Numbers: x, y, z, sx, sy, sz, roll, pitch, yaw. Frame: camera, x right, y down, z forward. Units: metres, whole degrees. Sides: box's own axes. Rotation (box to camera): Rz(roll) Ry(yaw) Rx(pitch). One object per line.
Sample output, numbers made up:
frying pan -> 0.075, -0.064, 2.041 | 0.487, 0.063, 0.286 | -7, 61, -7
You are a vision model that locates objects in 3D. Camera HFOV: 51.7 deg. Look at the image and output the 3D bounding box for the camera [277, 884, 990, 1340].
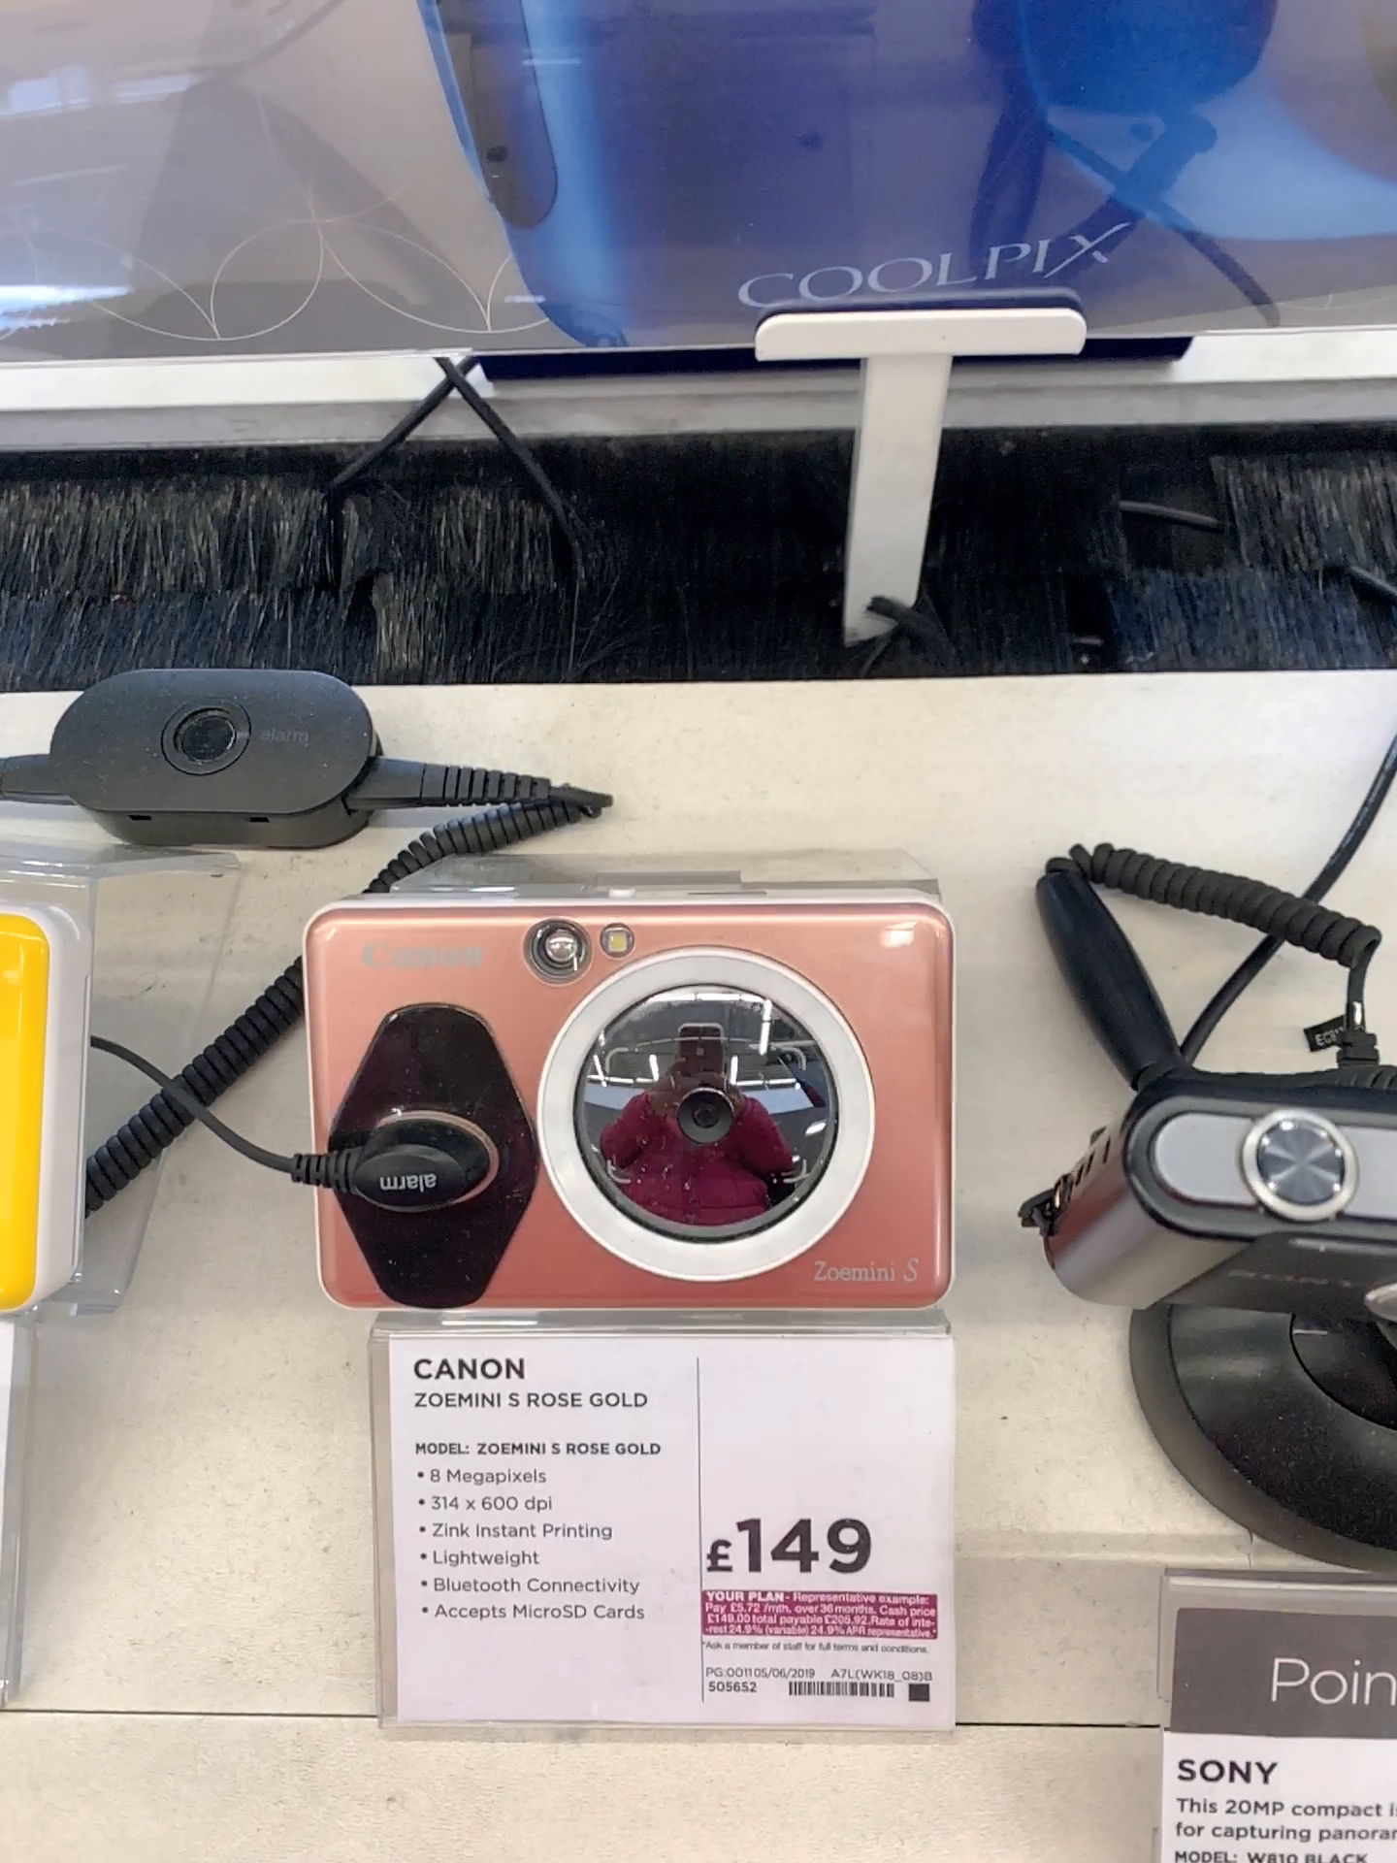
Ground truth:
camera -> -0.011, 0.034, 0.274 | 0.129, 0.020, 0.083 | 0, 97, 2
